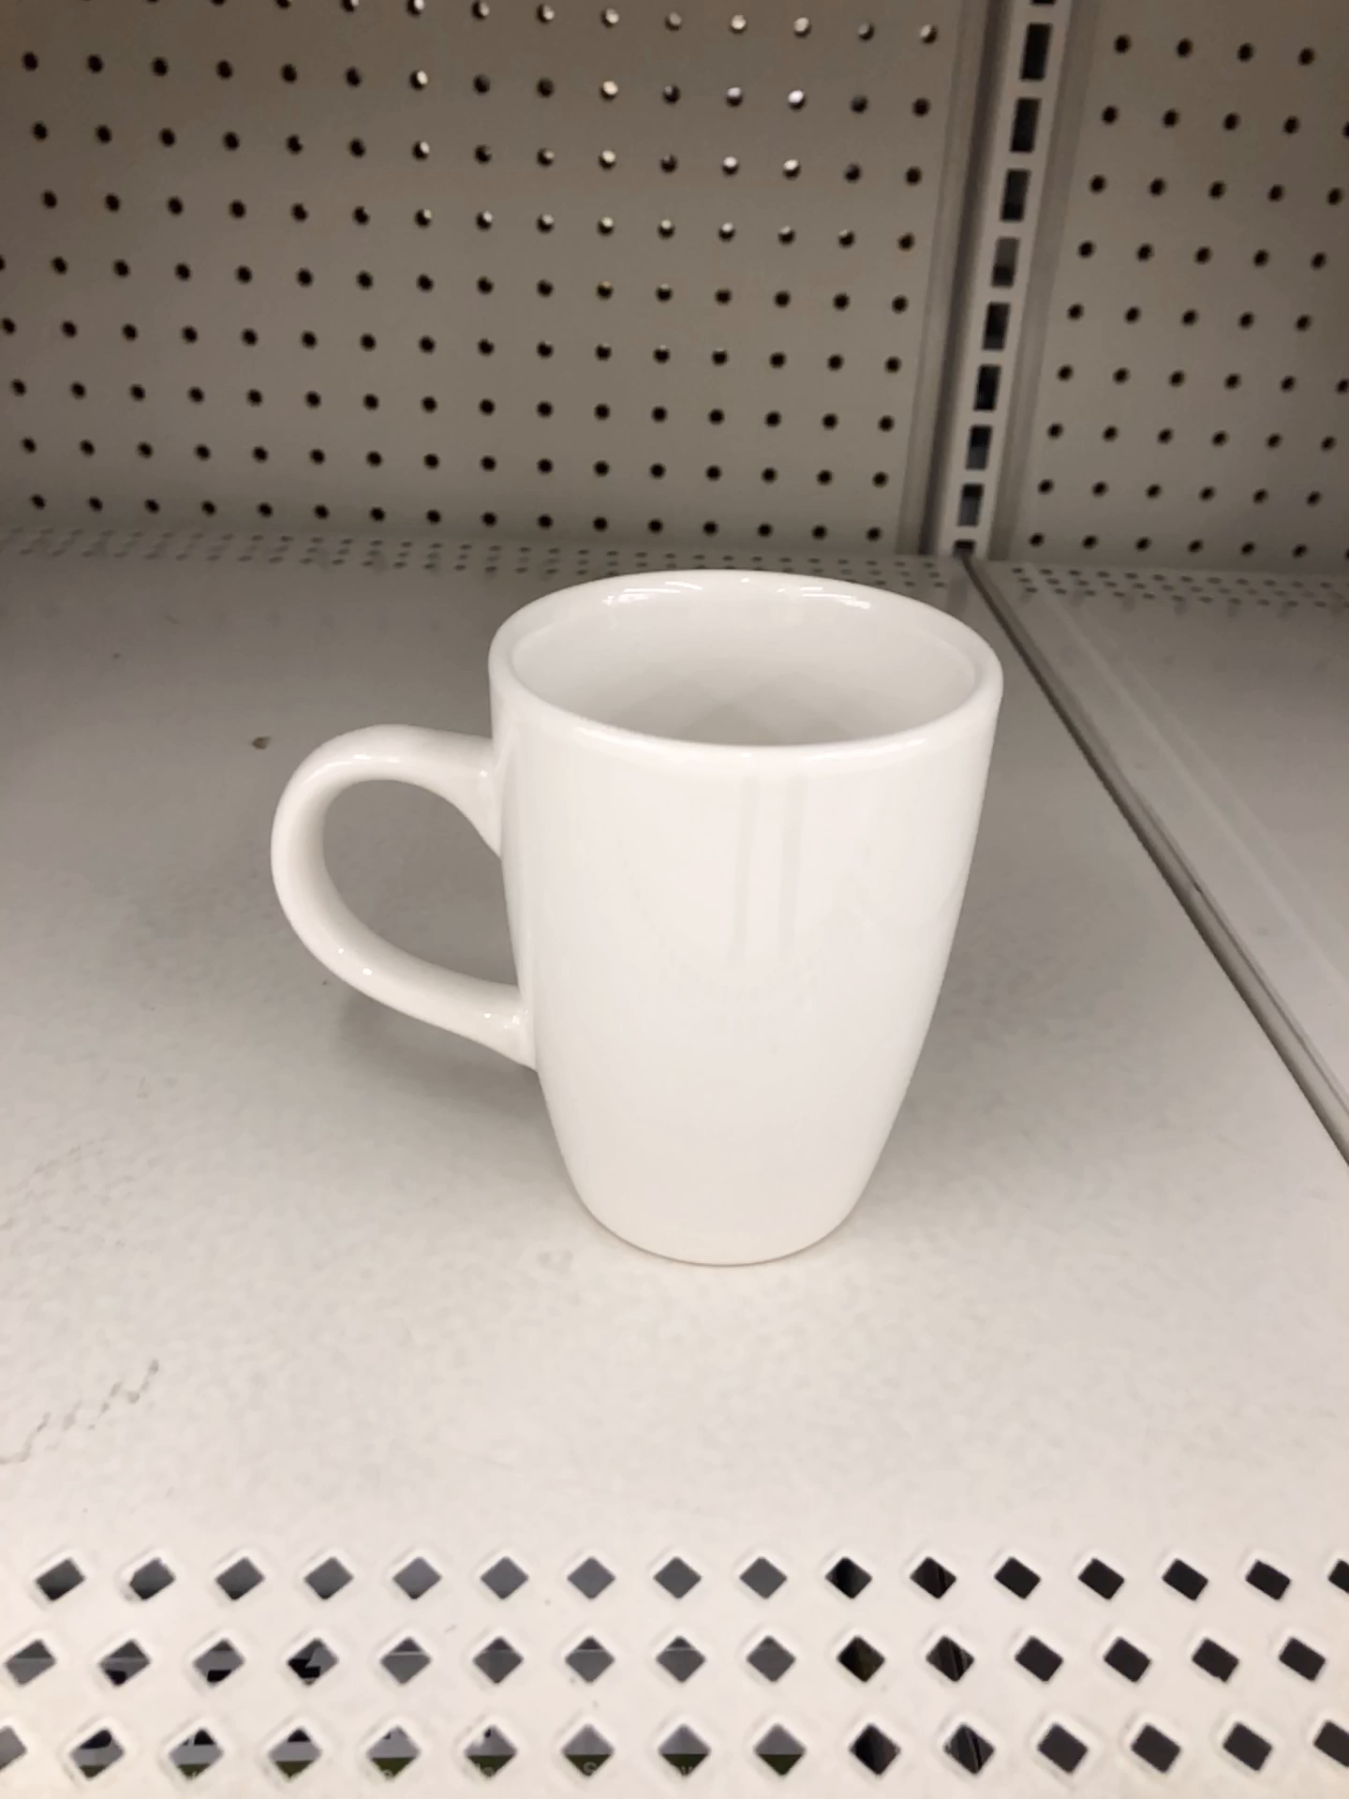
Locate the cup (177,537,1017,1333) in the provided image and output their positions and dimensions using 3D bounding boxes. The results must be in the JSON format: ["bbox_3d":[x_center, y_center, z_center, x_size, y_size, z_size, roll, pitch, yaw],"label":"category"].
[{"bbox_3d":[-0.008,0.002,0.278,0.125,0.105,0.081,7,30,8],"label":"cup"}]
